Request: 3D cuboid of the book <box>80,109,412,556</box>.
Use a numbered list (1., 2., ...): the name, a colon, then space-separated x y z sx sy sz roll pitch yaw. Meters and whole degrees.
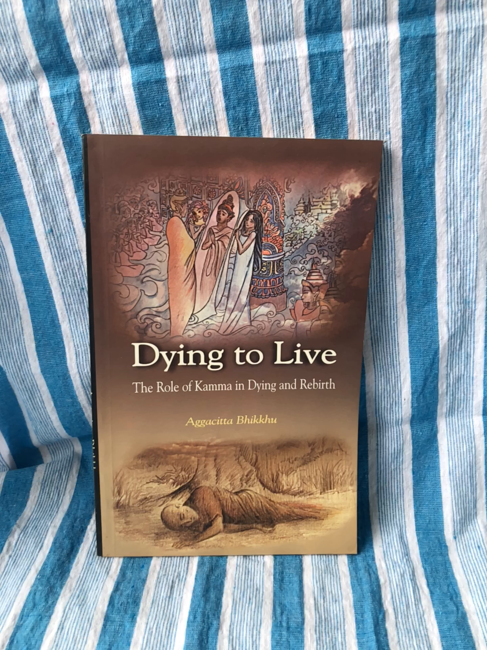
1. book: -0.001 0.010 0.269 0.150 0.210 0.020 2 6 -6
